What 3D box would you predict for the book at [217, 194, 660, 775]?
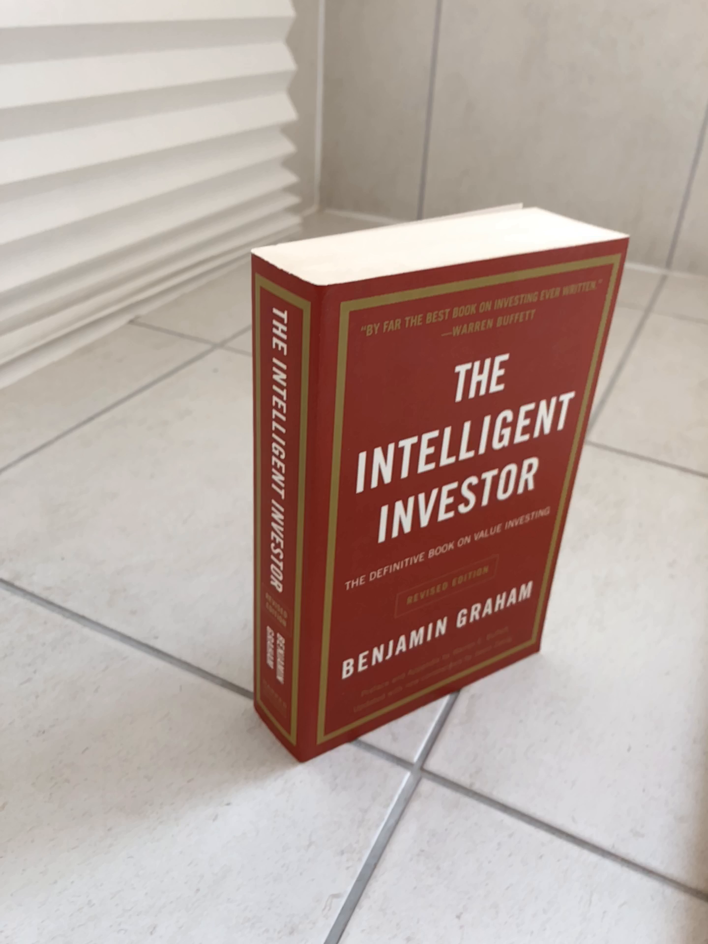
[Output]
[{"bbox_3d":[0.028,0.004,0.327,0.149,0.206,0.057,-17,37,-29],"label":"book"}]
